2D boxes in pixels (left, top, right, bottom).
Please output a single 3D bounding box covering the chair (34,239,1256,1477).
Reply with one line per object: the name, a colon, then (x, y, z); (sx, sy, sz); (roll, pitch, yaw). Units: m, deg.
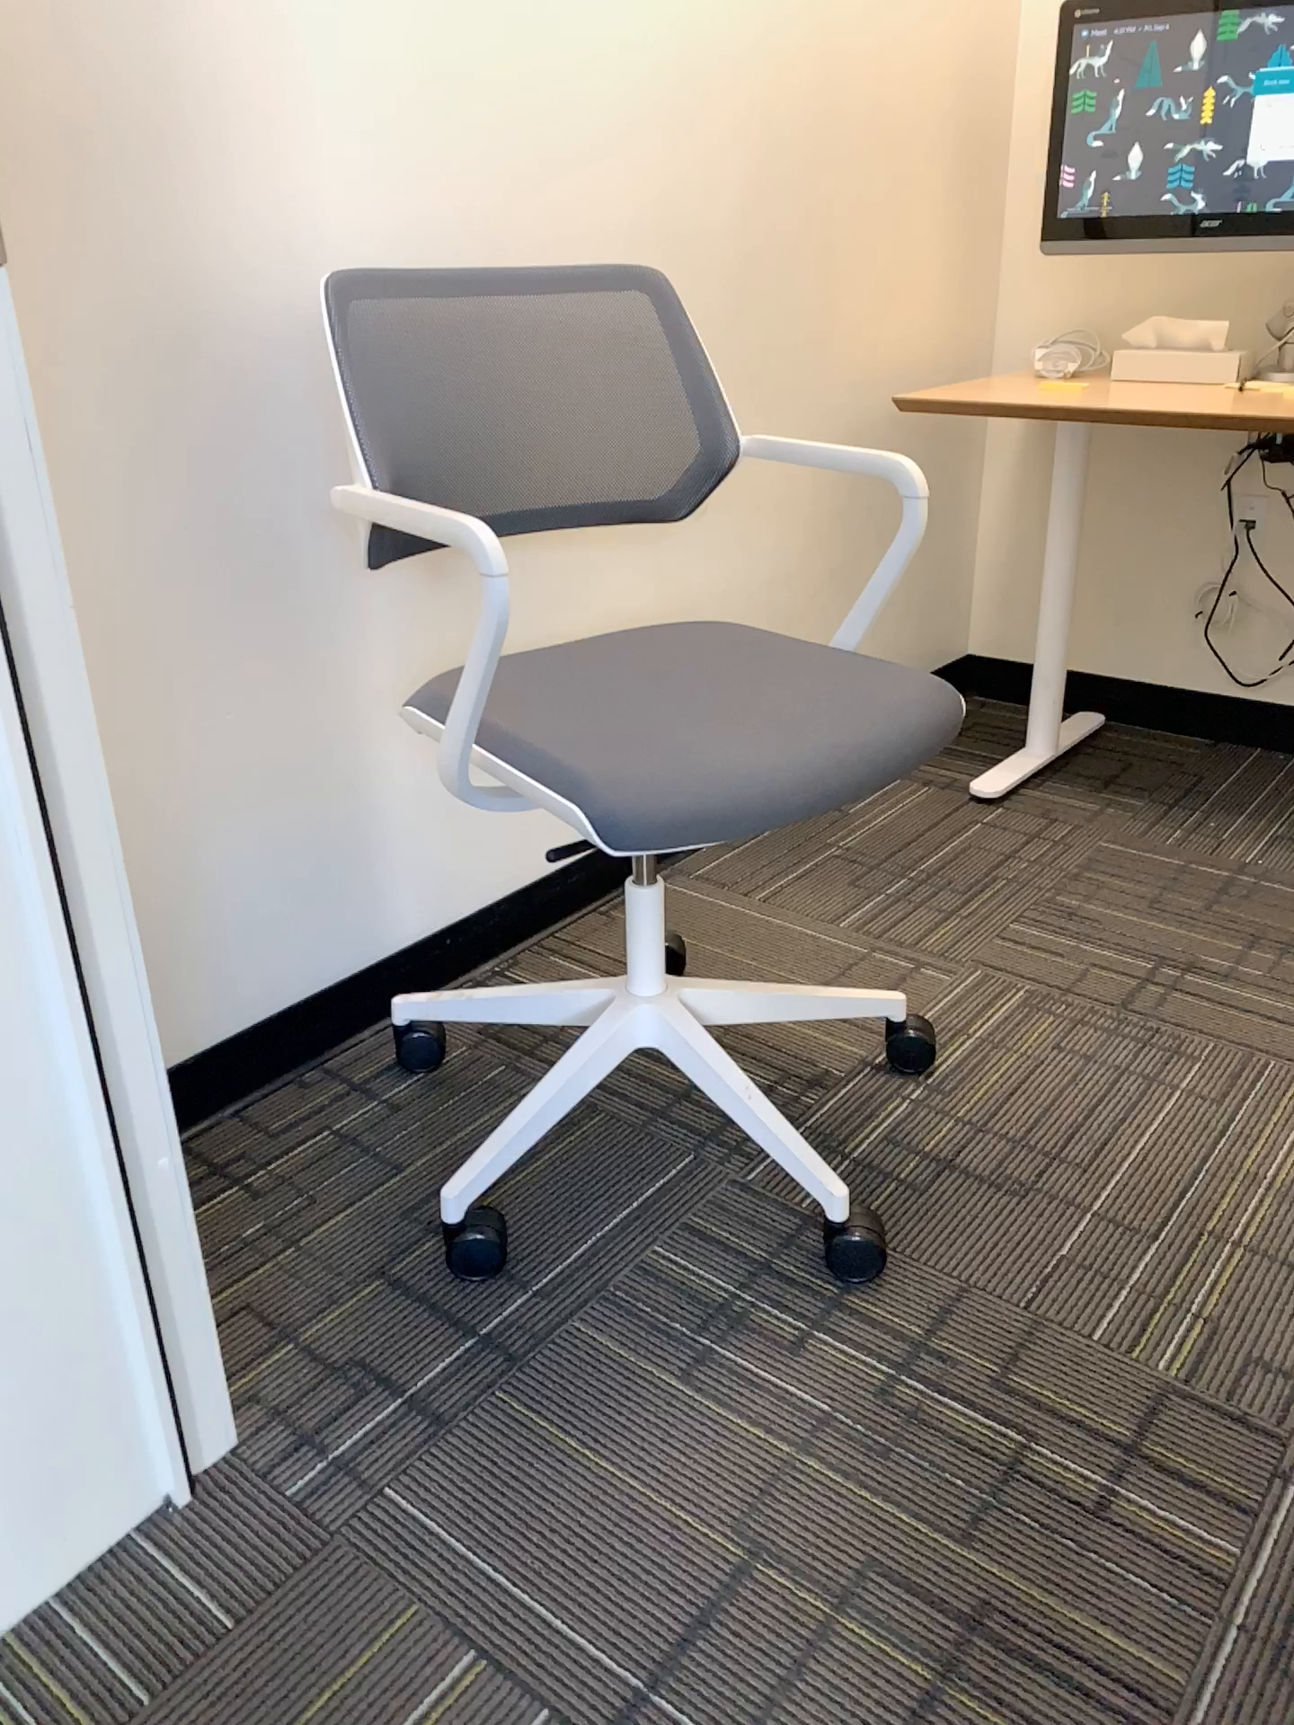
chair: (0.010, -0.151, 1.411); (0.803, 0.915, 0.801); (21, 33, 39)
